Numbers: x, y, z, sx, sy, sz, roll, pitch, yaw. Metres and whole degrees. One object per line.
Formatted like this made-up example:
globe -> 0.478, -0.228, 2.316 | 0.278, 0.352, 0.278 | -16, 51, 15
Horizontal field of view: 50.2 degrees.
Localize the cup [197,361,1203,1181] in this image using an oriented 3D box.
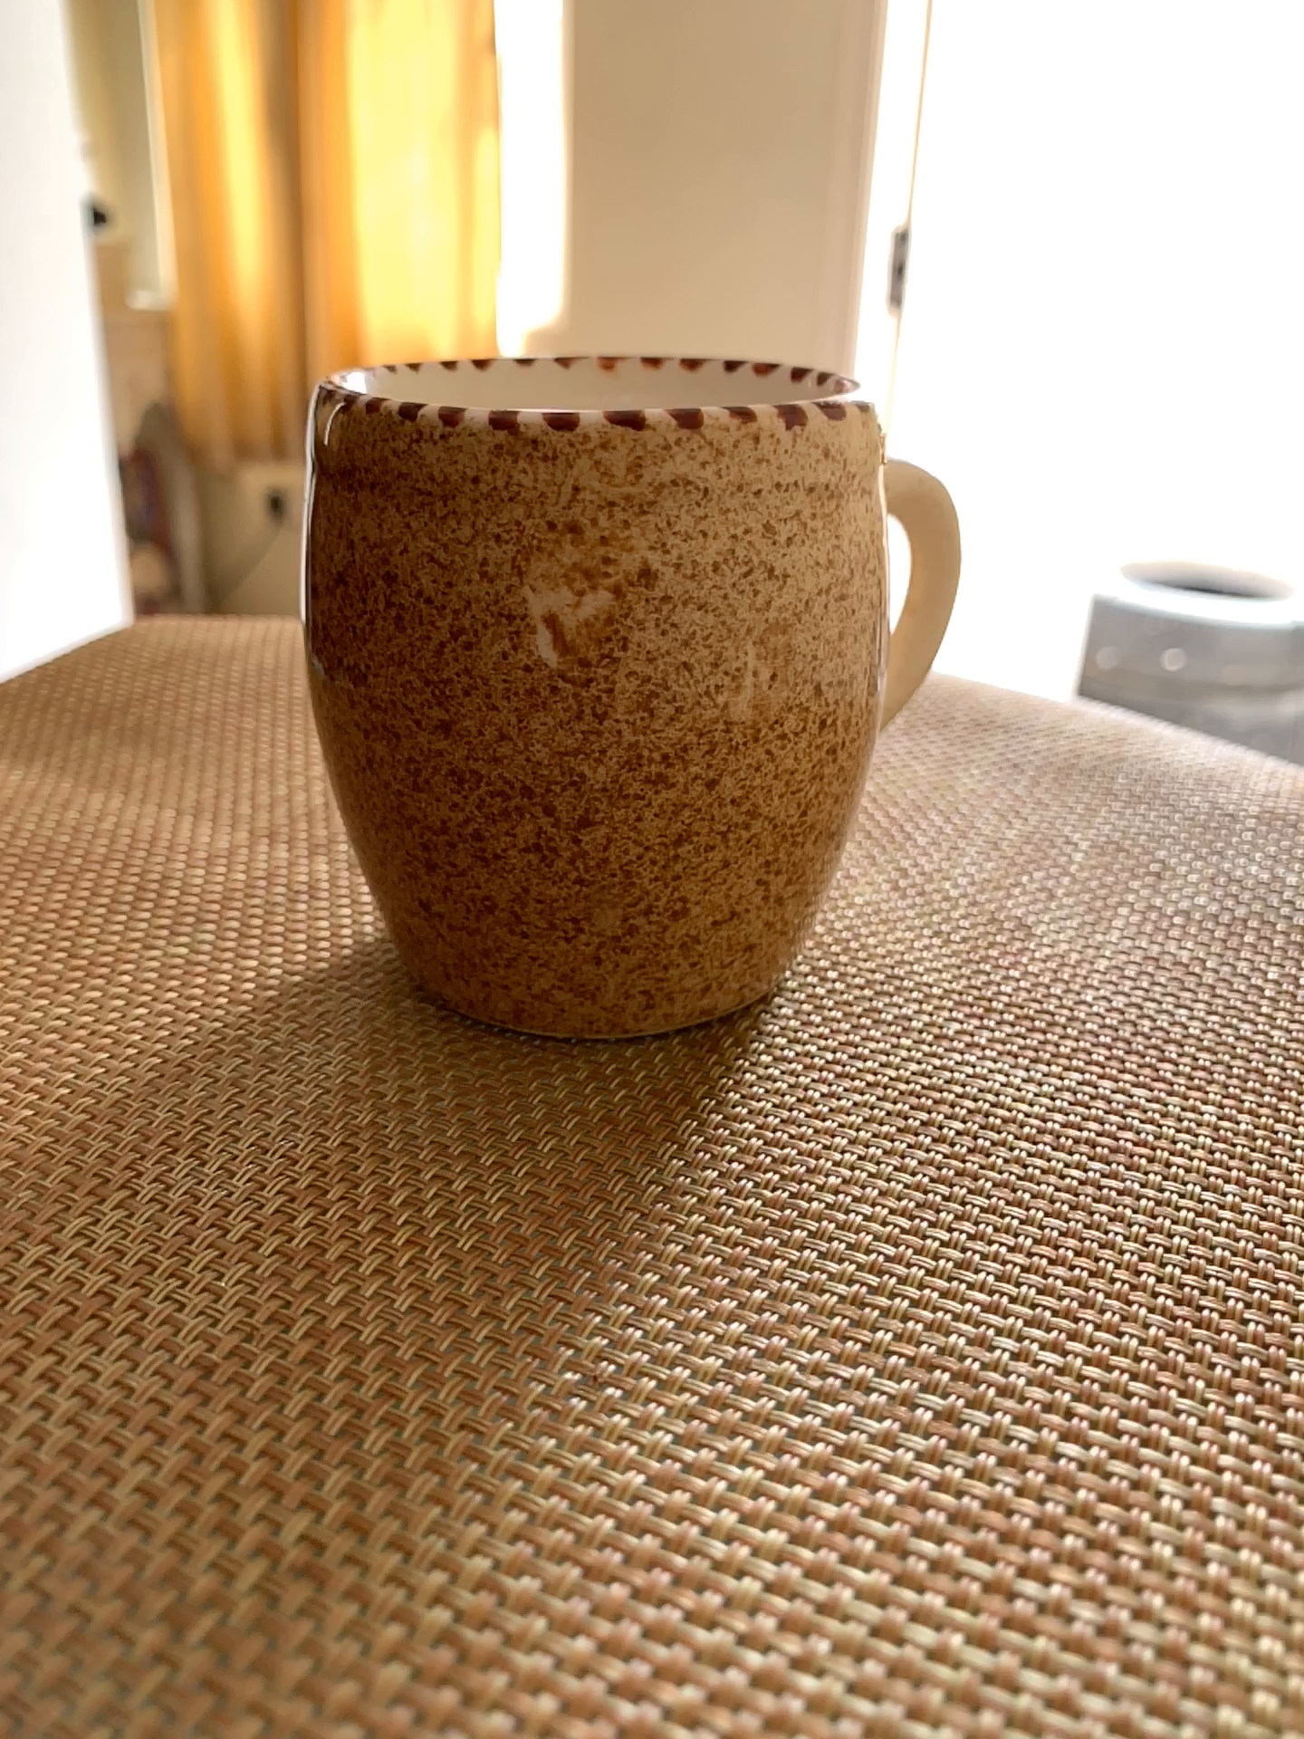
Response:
cup -> 0.001, -0.022, 0.170 | 0.090, 0.070, 0.070 | -10, 27, -27
